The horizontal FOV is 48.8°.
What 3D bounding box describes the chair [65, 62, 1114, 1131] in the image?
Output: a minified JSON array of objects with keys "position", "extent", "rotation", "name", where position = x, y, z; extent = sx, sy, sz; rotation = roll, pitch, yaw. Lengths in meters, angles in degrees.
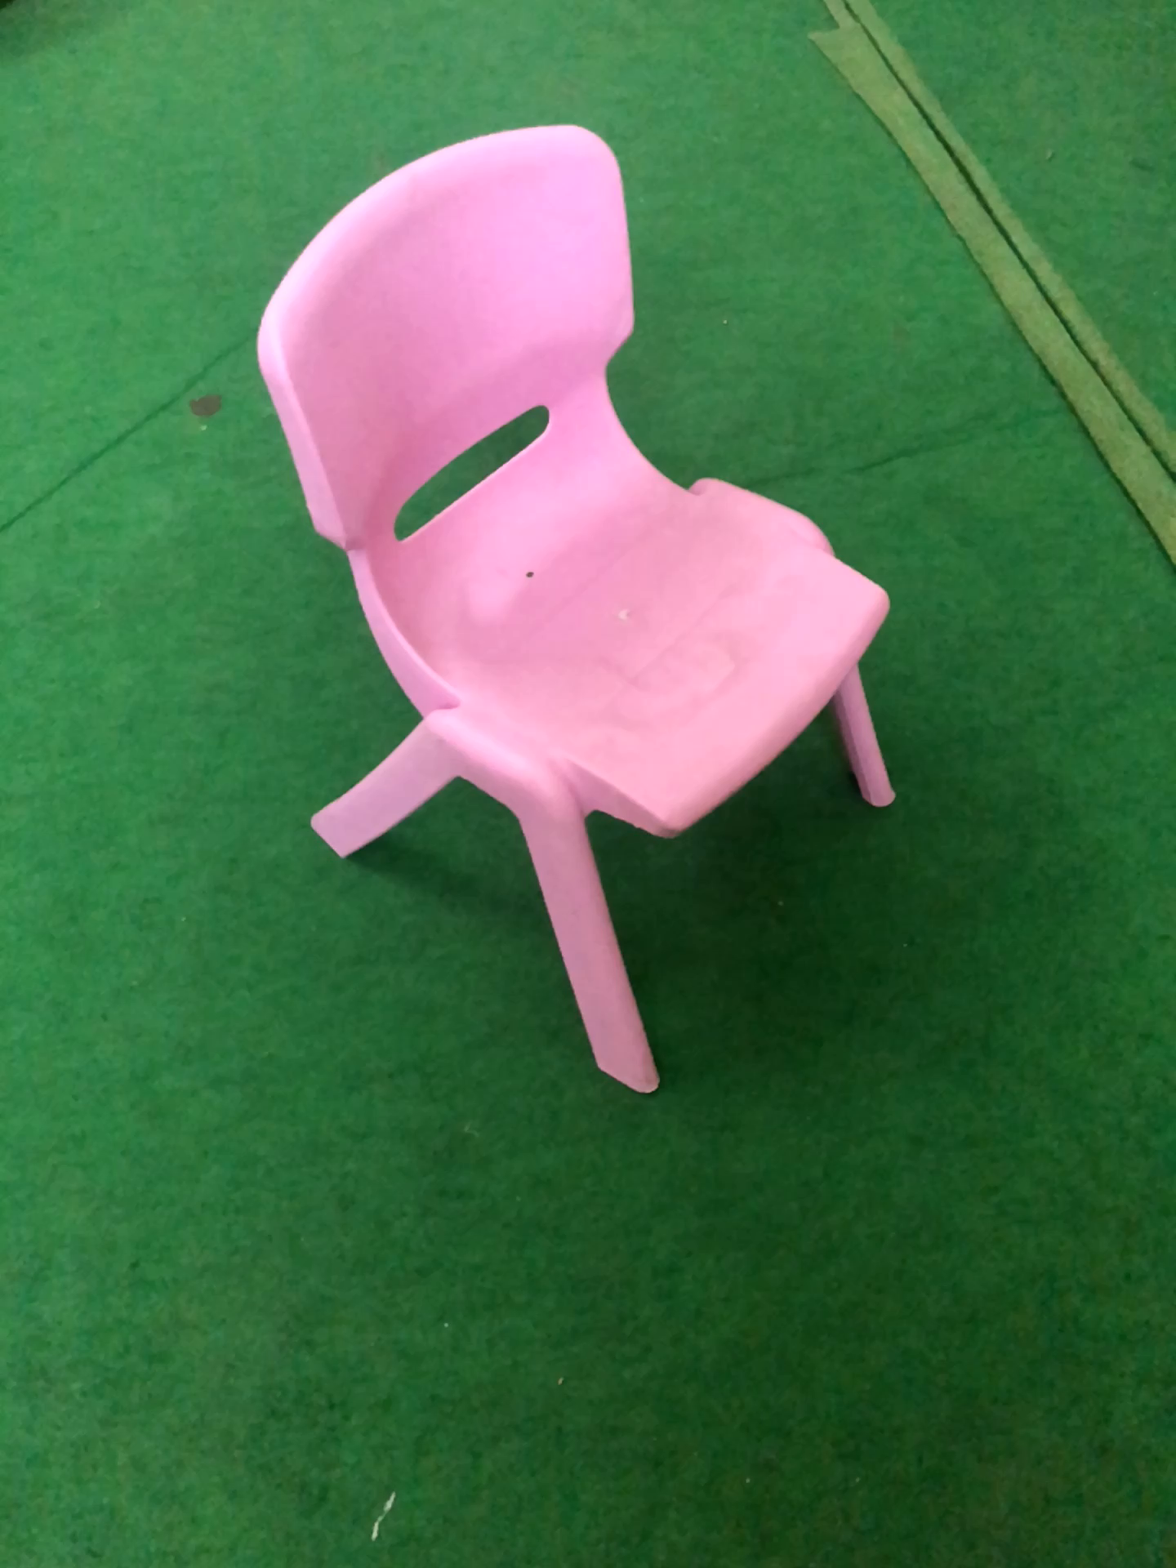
[{"position":[0.008,-0.122,0.863],"extent":[0.410,0.449,0.380],"rotation":[30,58,21],"name":"chair"}]
